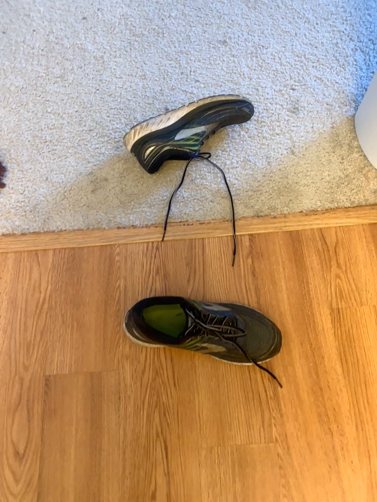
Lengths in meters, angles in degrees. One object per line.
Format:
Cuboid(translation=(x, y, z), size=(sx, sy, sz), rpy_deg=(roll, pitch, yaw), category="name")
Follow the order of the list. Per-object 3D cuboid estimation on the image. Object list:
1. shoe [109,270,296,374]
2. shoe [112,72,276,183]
Cuboid(translation=(0.027, 0.138, 0.728), size=(0.311, 0.123, 0.120), rpy_deg=(10, 70, 4), category="shoe")
Cuboid(translation=(0.010, -0.261, 0.827), size=(0.310, 0.110, 0.120), rpy_deg=(-18, 86, -6), category="shoe")
